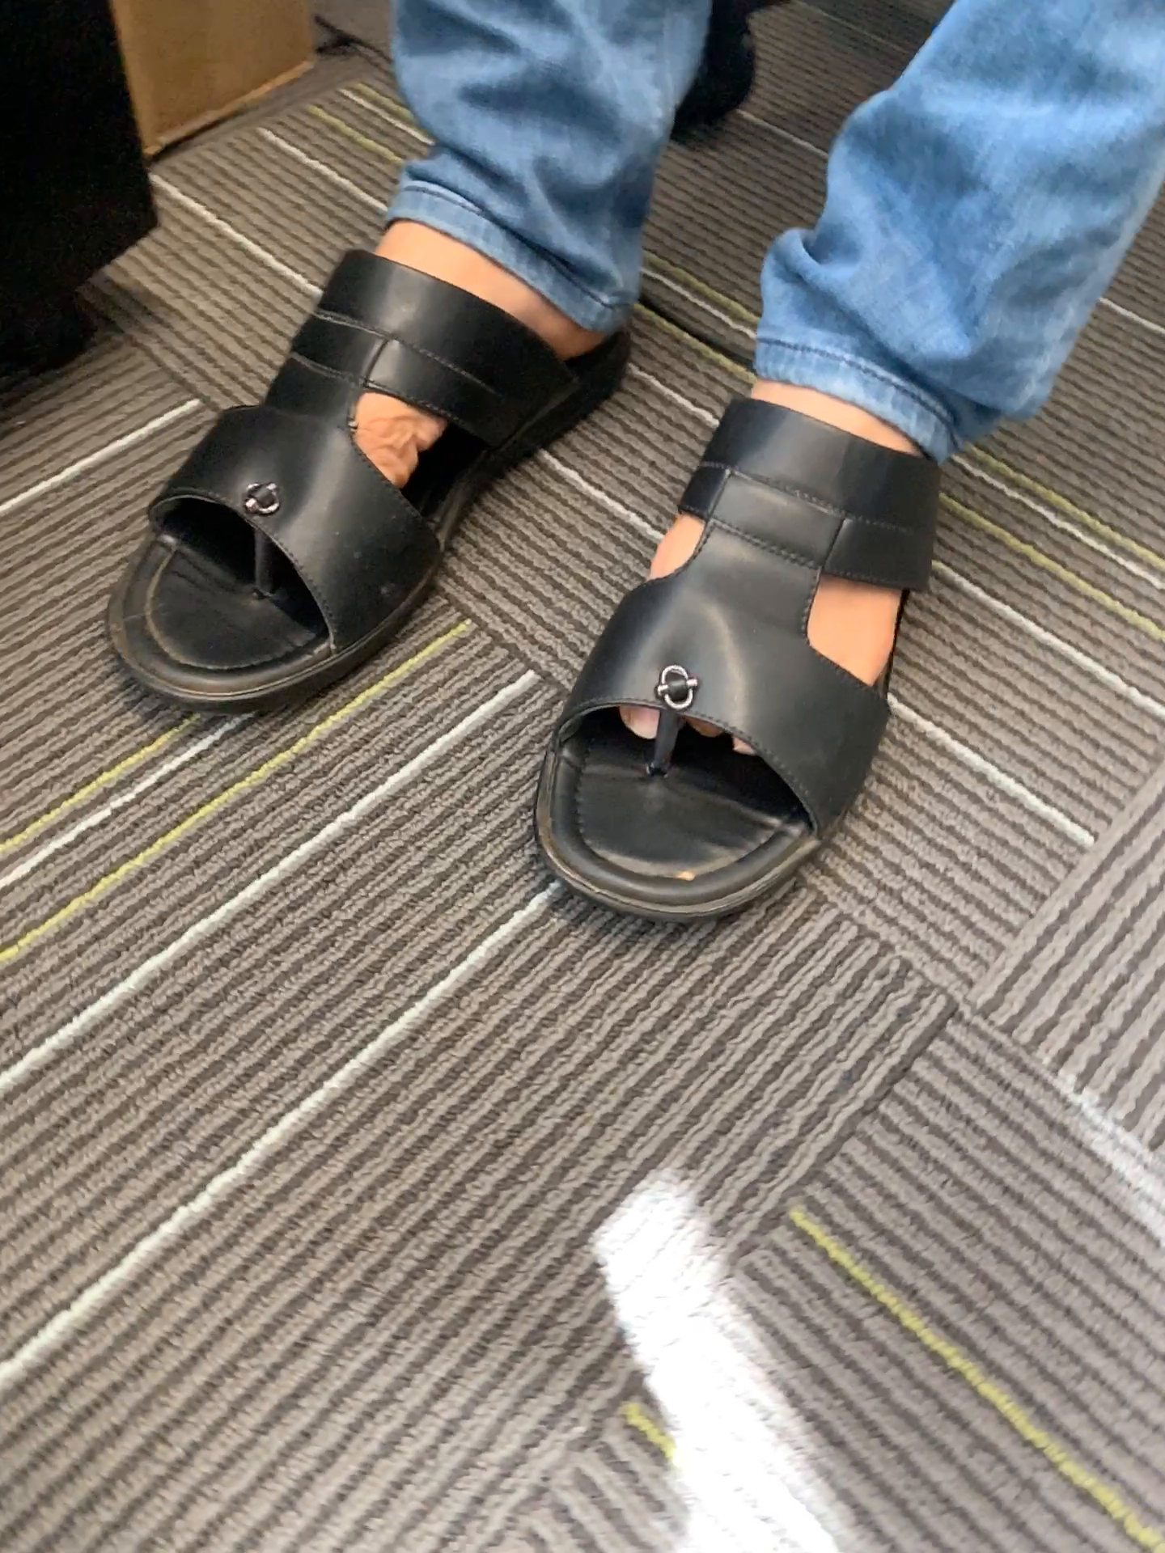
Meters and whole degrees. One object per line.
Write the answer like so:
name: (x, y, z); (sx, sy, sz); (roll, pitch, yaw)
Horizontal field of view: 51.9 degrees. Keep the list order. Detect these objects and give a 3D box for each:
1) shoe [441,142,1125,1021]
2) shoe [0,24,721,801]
shoe: (0.084, -0.089, 0.448); (0.118, 0.116, 0.317); (24, 59, 13)
shoe: (-0.075, -0.162, 0.485); (0.118, 0.116, 0.317); (27, 60, 15)
